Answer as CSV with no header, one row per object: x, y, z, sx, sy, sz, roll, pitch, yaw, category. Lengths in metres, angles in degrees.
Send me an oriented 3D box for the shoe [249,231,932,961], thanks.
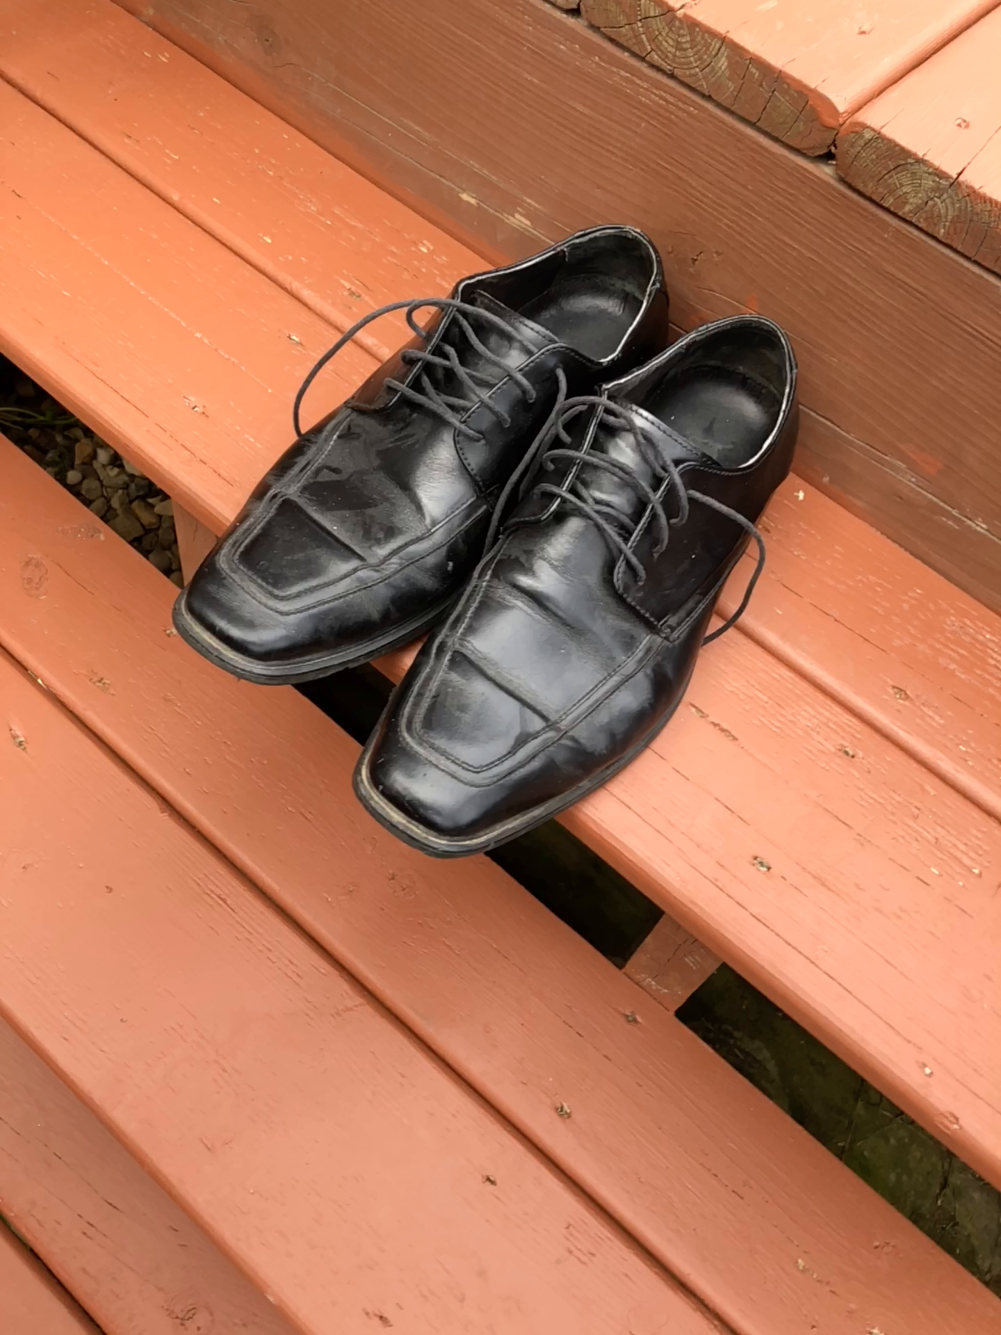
0.051,-0.050,0.508,0.130,0.110,0.331,35,59,12,shoe

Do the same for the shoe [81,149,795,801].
-0.015,-0.108,0.536,0.130,0.110,0.331,39,60,14,shoe
